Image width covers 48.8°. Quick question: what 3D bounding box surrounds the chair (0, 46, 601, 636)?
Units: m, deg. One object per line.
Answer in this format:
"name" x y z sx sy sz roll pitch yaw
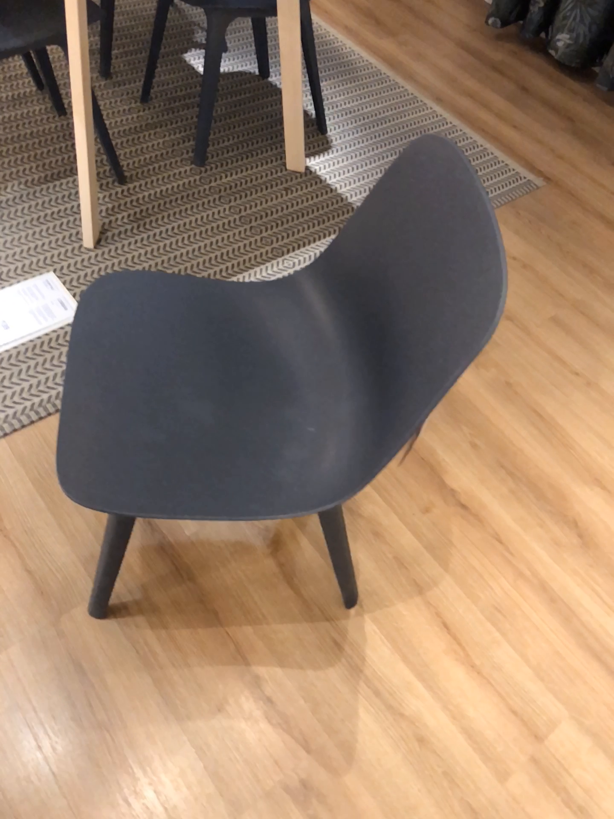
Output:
"chair" -0.076 -0.028 1.013 0.560 0.728 0.471 1 54 -10
